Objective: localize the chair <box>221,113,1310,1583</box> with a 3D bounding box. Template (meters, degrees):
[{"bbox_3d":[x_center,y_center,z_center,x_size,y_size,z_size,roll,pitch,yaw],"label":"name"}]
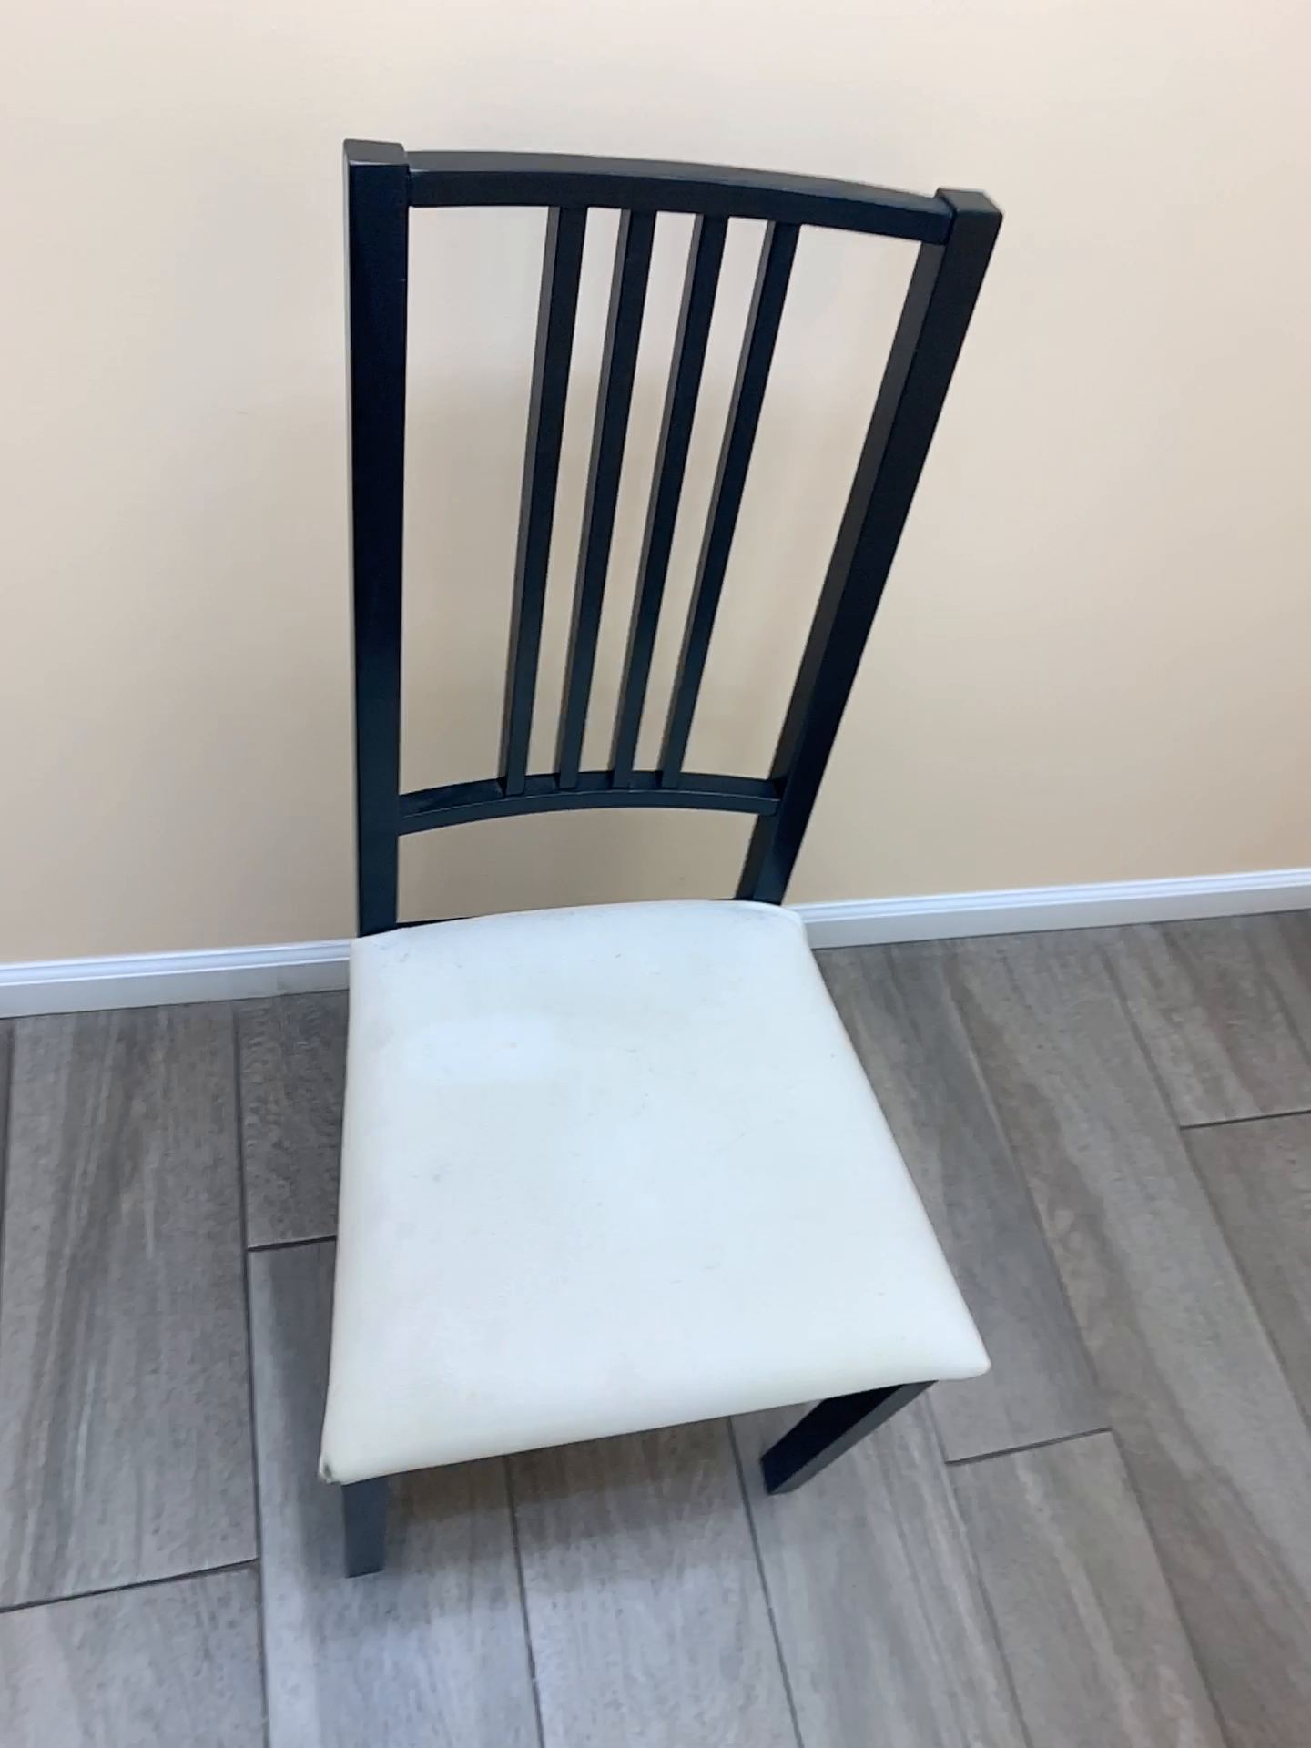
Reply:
[{"bbox_3d":[-0.028,0.108,0.935,0.439,0.963,0.499,-4,56,-15],"label":"chair"}]
